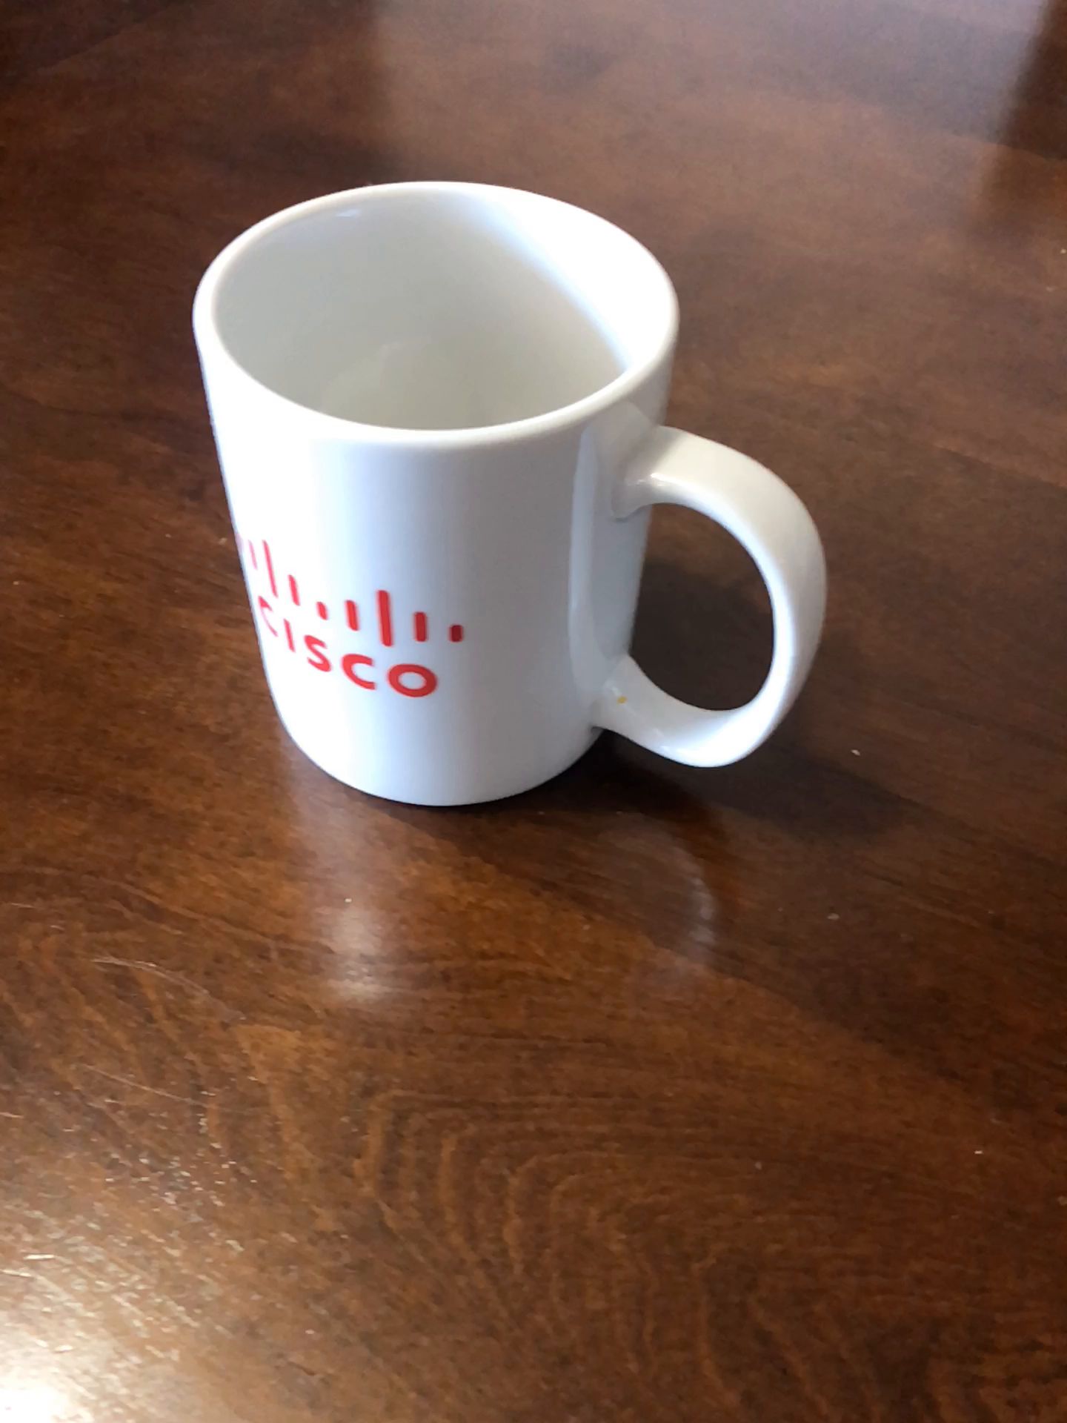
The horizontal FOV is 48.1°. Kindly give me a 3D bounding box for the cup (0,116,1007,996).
[{"bbox_3d":[-0.004,-0.031,0.215,0.130,0.090,0.080,23,52,17],"label":"cup"}]
